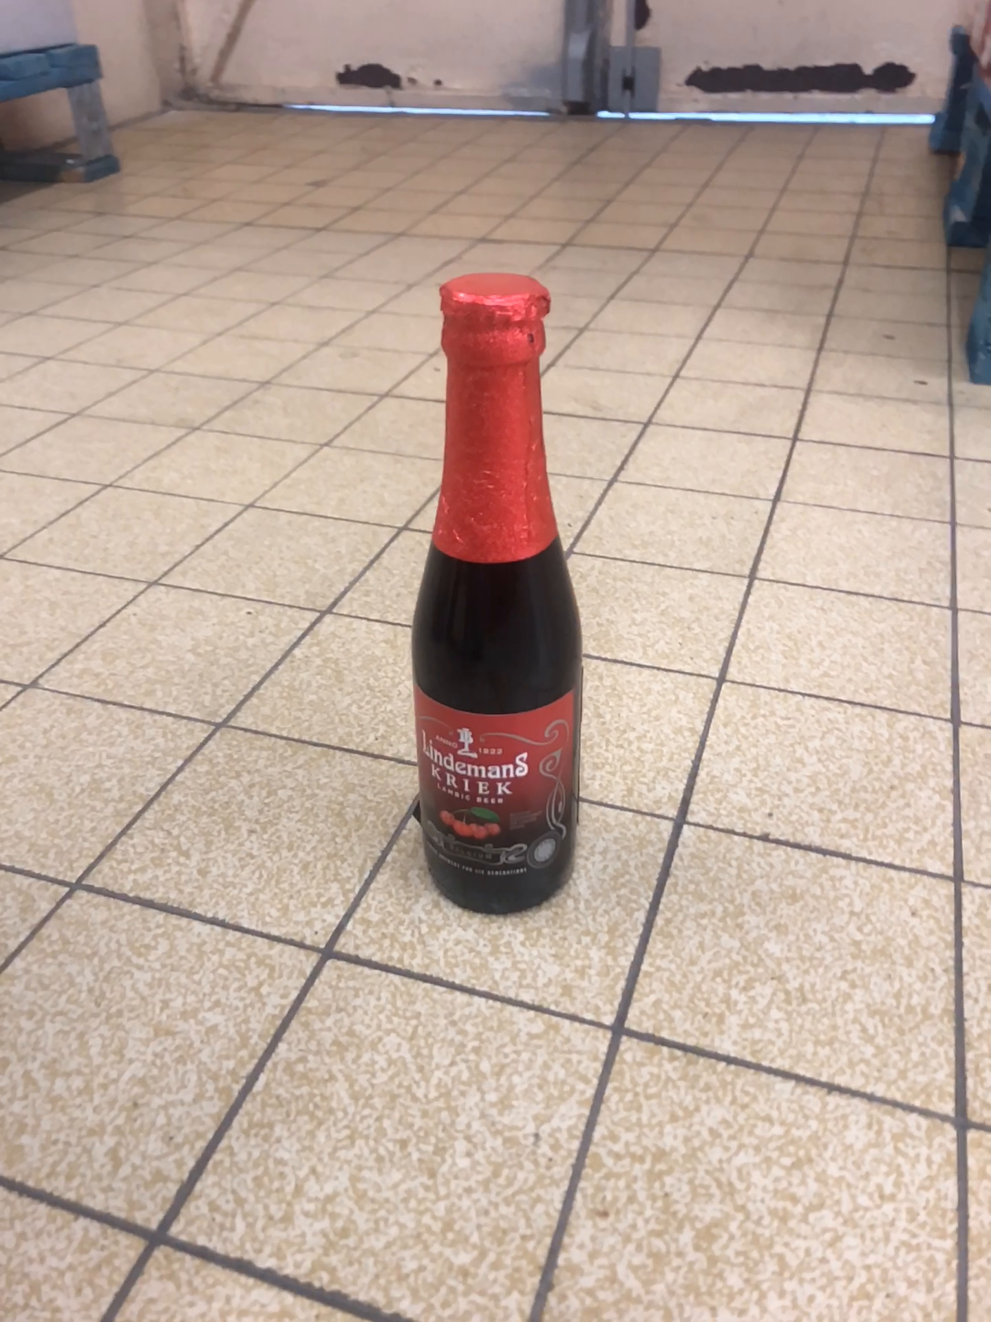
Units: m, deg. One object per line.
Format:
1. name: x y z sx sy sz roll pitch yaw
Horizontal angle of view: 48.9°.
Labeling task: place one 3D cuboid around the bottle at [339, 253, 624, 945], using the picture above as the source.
1. bottle: 0.000 -0.012 0.329 0.060 0.199 0.060 -1 32 0
